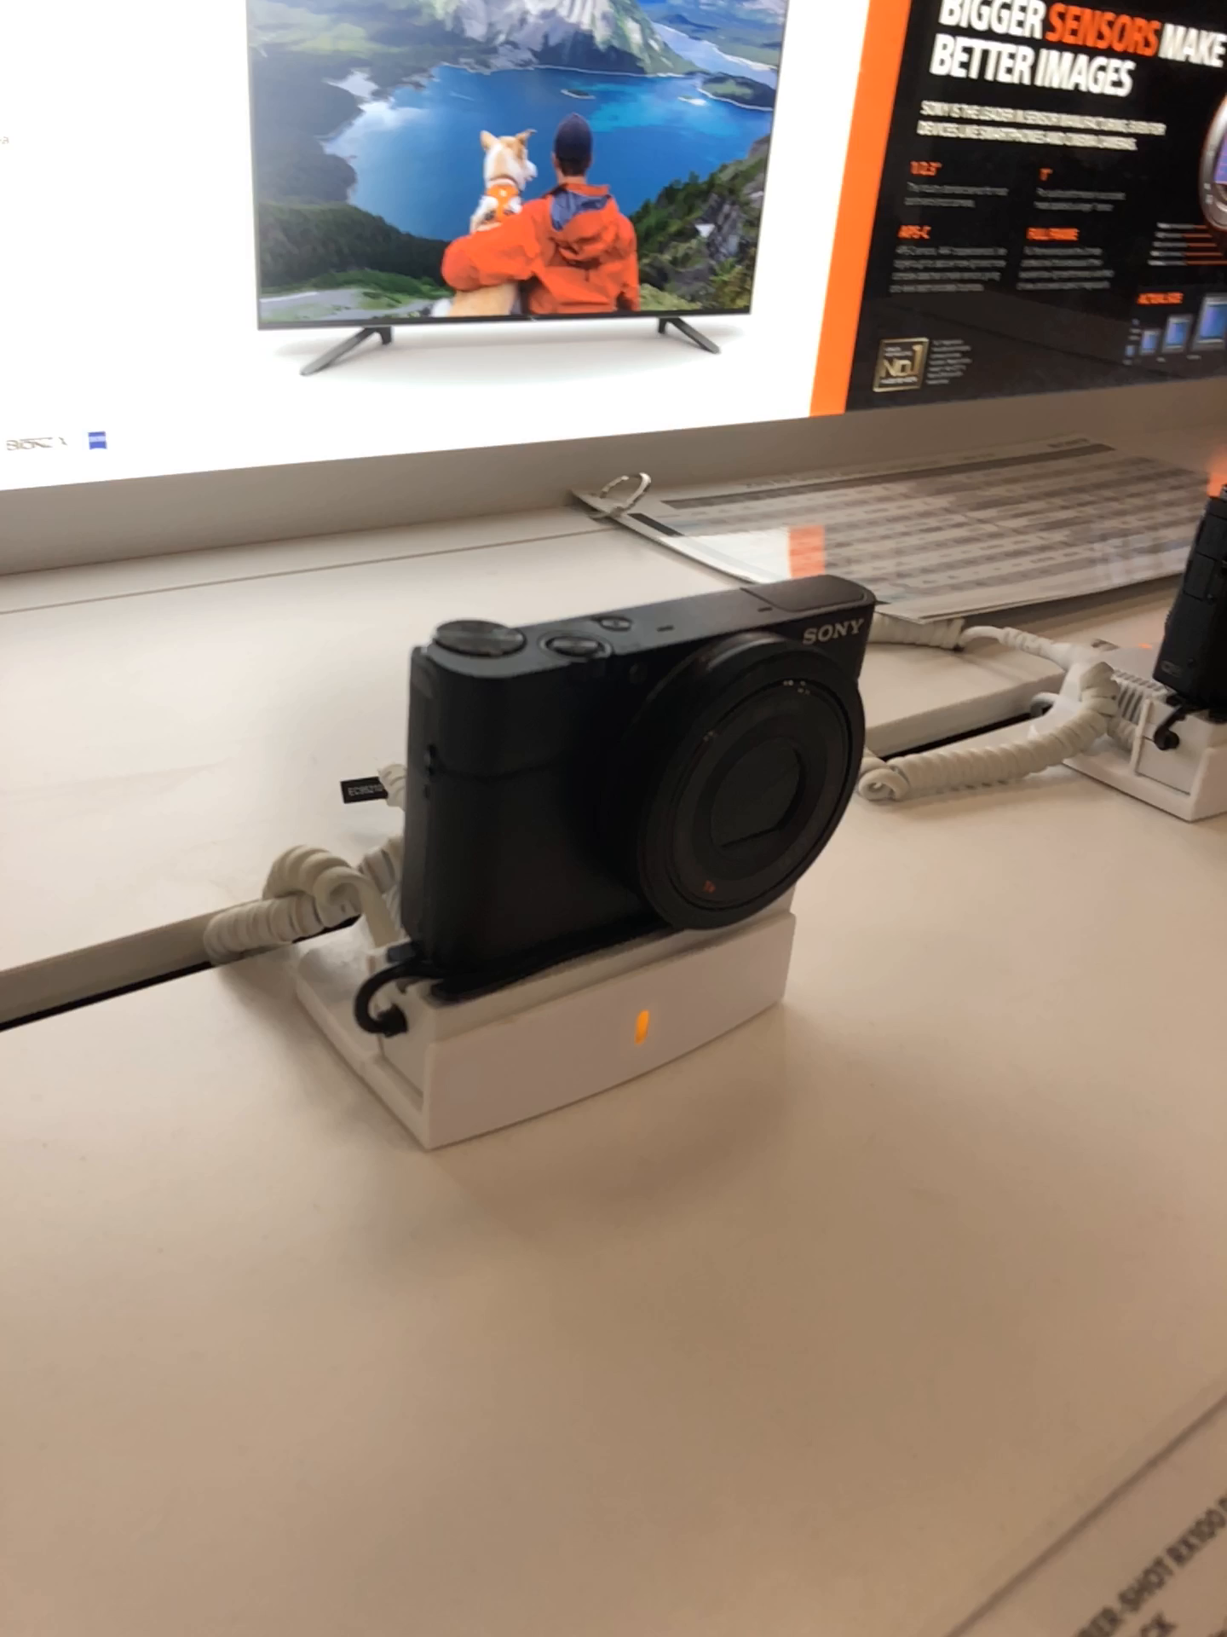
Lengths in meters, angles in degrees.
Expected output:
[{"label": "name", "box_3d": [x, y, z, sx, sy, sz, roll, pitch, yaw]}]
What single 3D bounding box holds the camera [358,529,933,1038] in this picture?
[{"label": "camera", "box_3d": [0.008, -0.012, 0.262, 0.110, 0.070, 0.030, -16, 33, -35]}]
